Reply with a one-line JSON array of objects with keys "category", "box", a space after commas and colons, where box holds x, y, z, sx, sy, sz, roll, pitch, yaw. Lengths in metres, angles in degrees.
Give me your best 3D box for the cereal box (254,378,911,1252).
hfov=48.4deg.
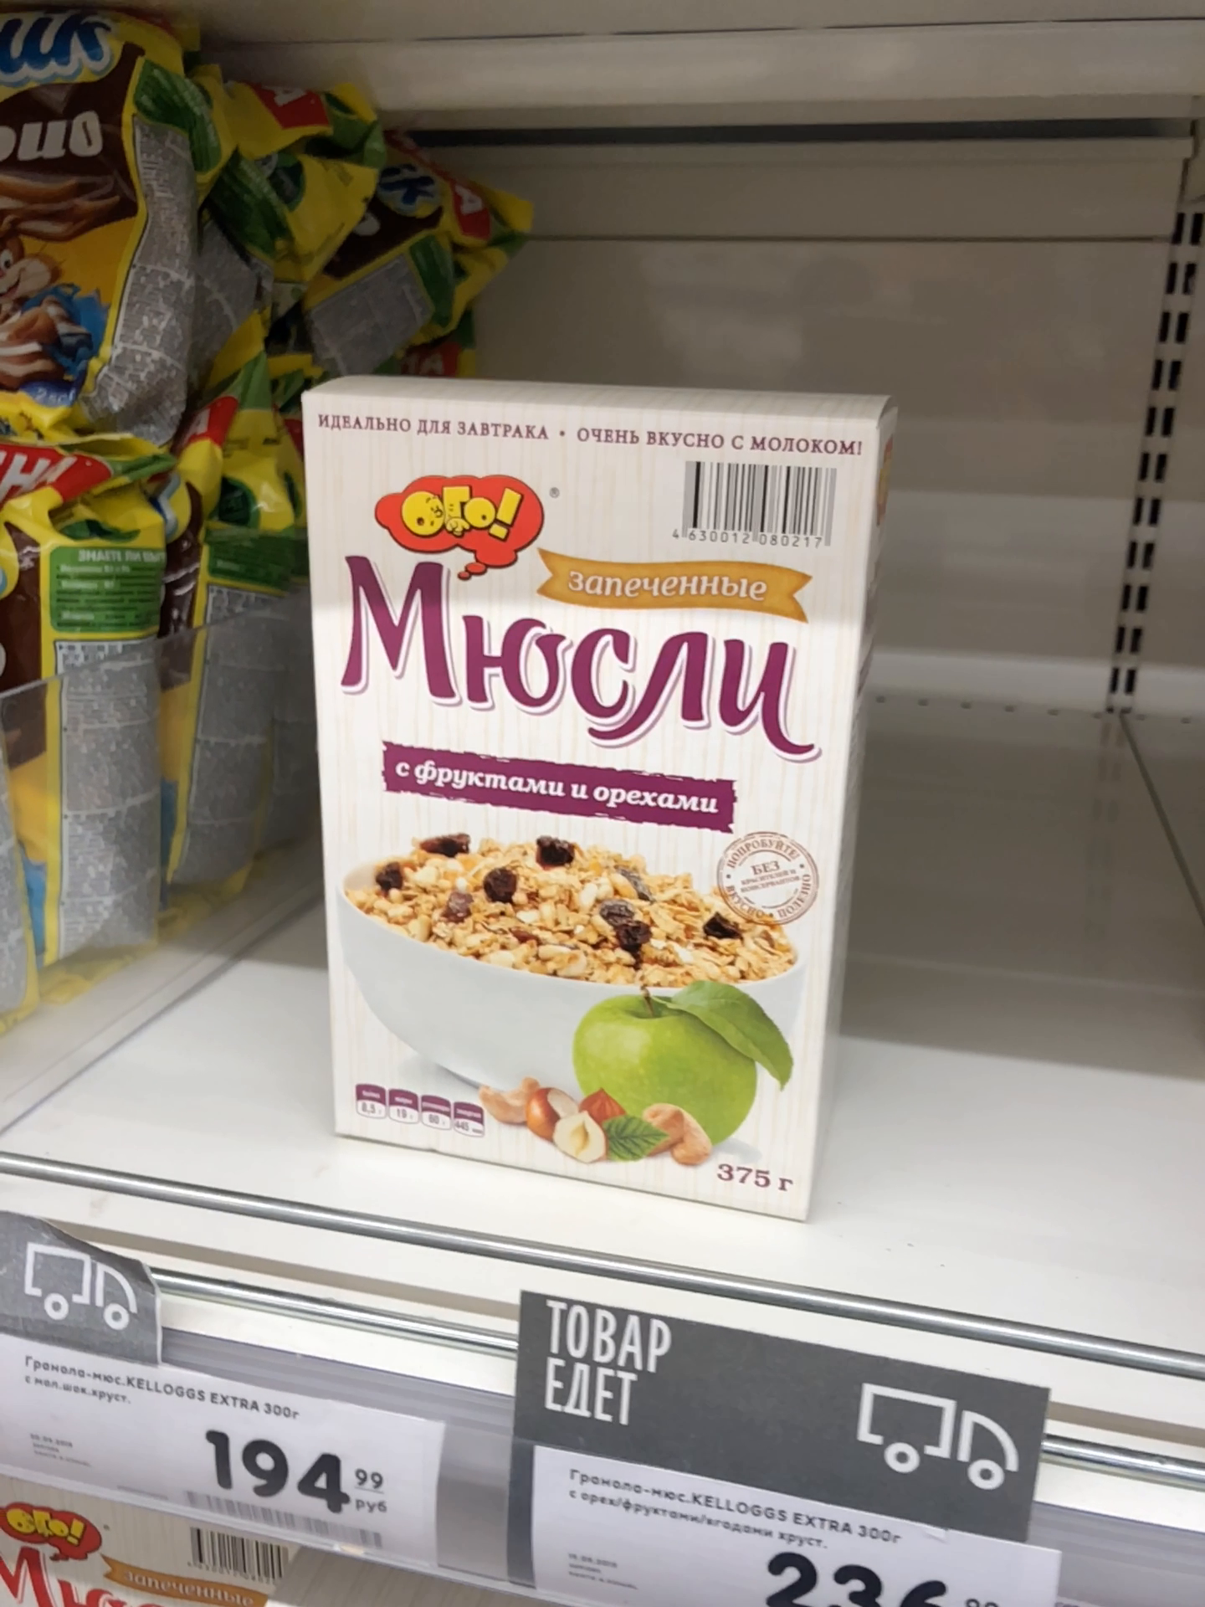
[{"category": "cereal box", "box": [-0.003, -0.003, 0.346, 0.140, 0.199, 0.070, 6, 20, 15]}]
